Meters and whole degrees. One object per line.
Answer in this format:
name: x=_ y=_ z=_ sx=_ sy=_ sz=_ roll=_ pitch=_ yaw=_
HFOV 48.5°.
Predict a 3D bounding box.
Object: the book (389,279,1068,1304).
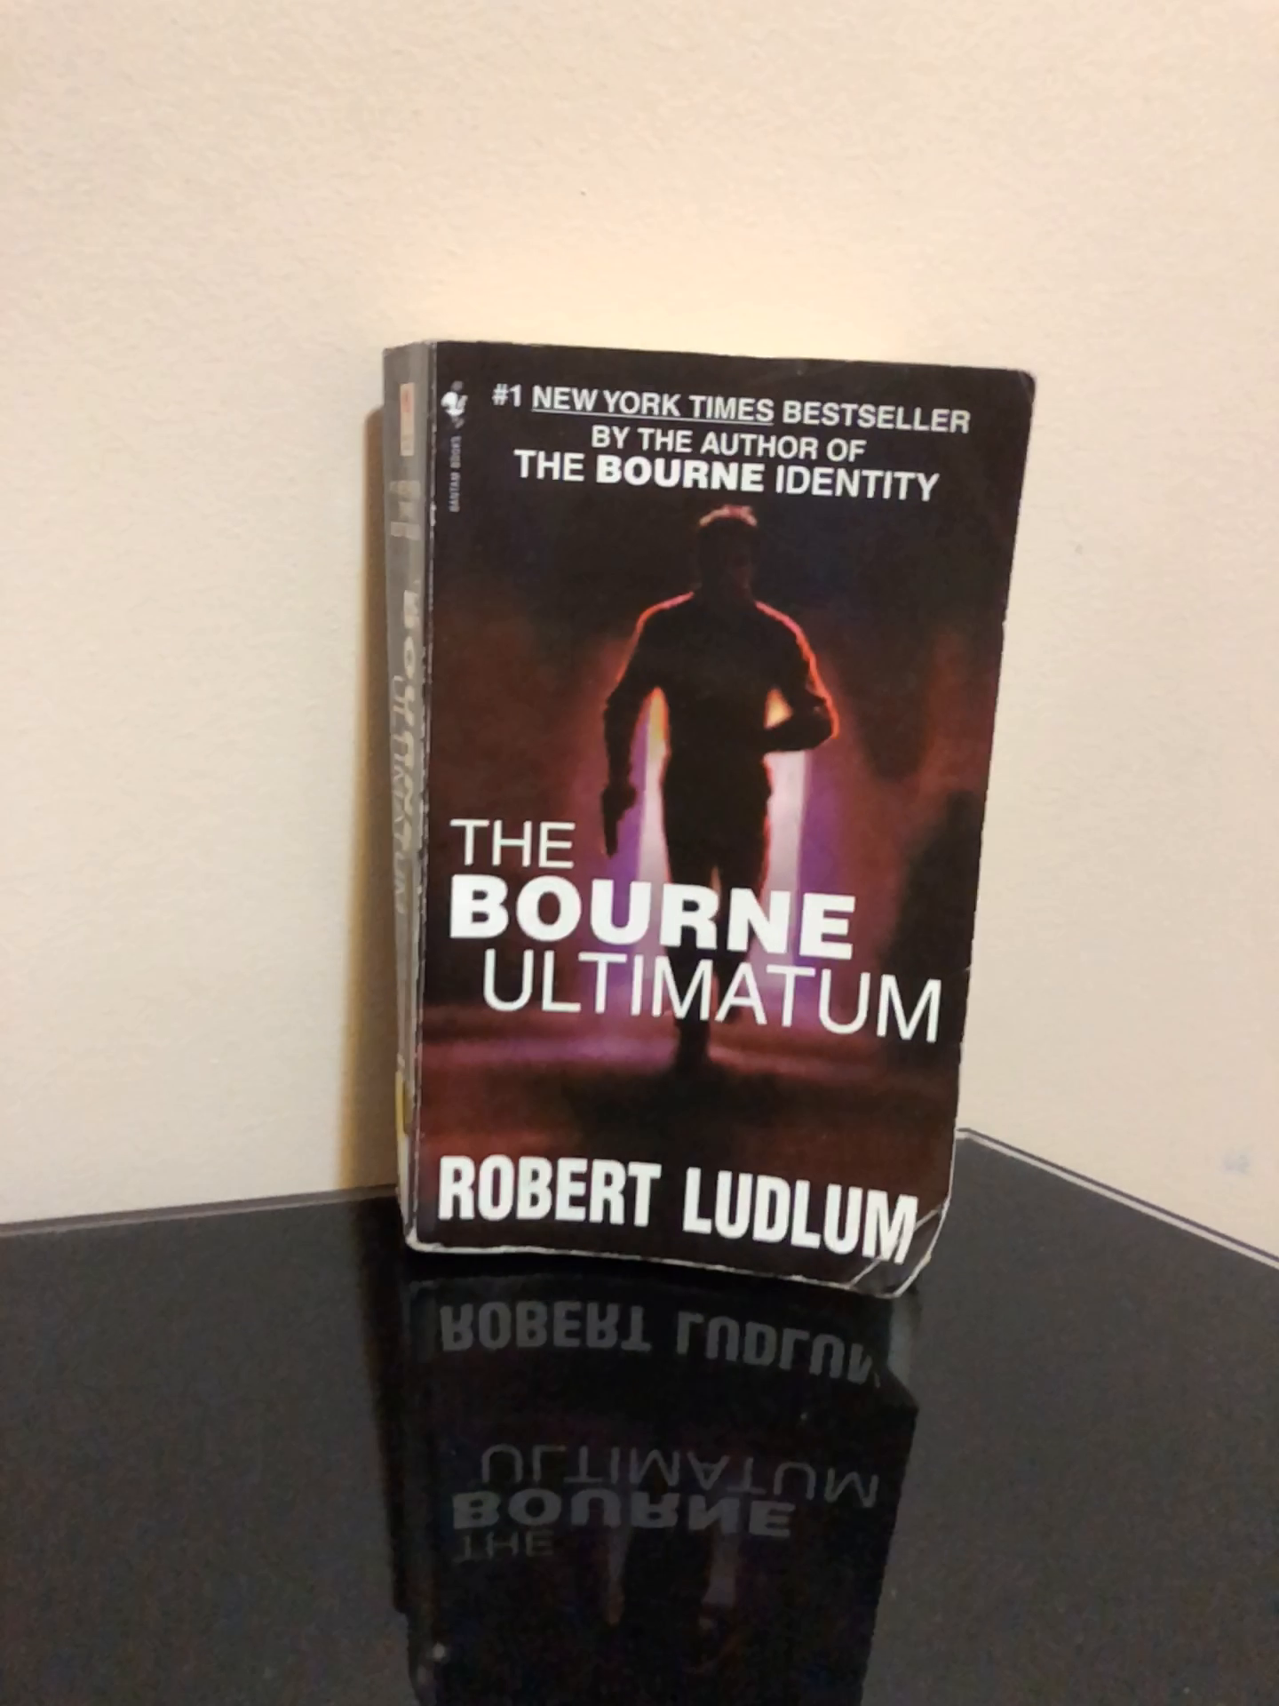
book: x=0.013 y=-0.012 z=0.299 sx=0.120 sy=0.190 sz=0.070 roll=0 pitch=10 yaw=-4
